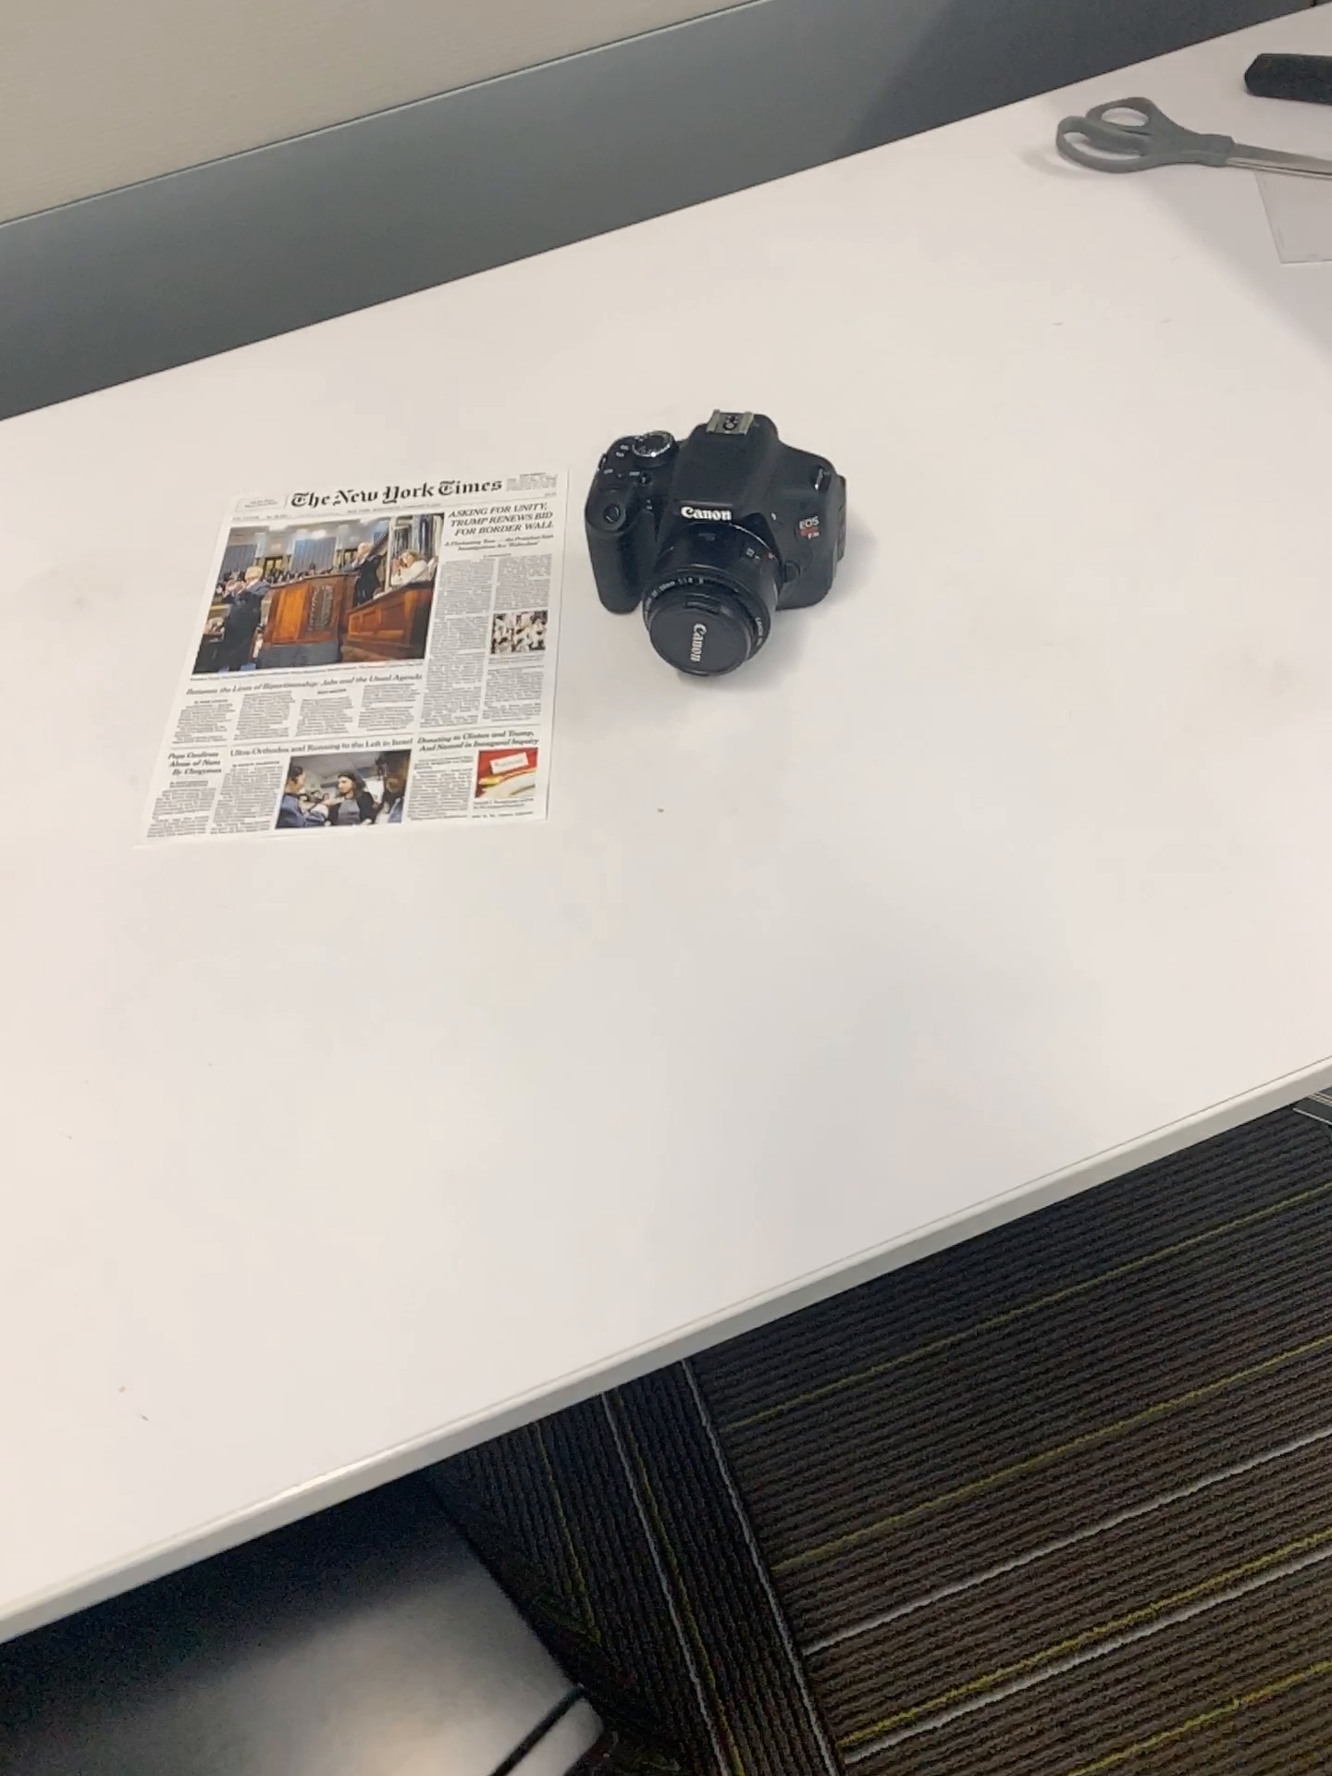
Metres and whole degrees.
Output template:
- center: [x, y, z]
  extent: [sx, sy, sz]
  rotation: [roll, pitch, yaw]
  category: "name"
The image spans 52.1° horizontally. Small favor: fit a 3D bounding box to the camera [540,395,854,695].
- center: [0.022, -0.182, 0.718]
  extent: [0.136, 0.090, 0.119]
  rotation: [7, 56, 12]
  category: "camera"
